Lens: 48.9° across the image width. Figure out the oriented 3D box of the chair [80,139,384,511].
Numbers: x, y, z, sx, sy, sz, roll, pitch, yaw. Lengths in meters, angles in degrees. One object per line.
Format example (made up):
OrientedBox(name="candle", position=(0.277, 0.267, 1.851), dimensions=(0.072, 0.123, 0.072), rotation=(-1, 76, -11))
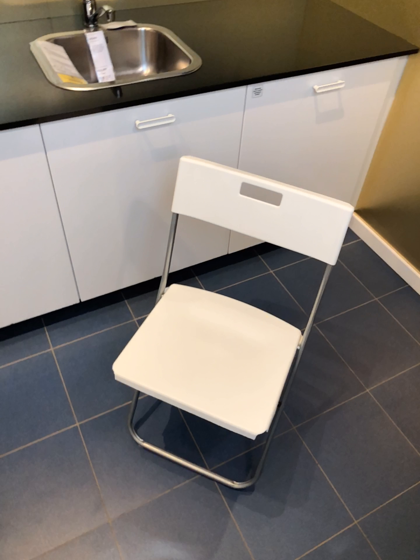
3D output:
OrientedBox(name="chair", position=(0.063, 0.147, 1.263), dimensions=(0.490, 0.775, 0.523), rotation=(19, 49, 13))
